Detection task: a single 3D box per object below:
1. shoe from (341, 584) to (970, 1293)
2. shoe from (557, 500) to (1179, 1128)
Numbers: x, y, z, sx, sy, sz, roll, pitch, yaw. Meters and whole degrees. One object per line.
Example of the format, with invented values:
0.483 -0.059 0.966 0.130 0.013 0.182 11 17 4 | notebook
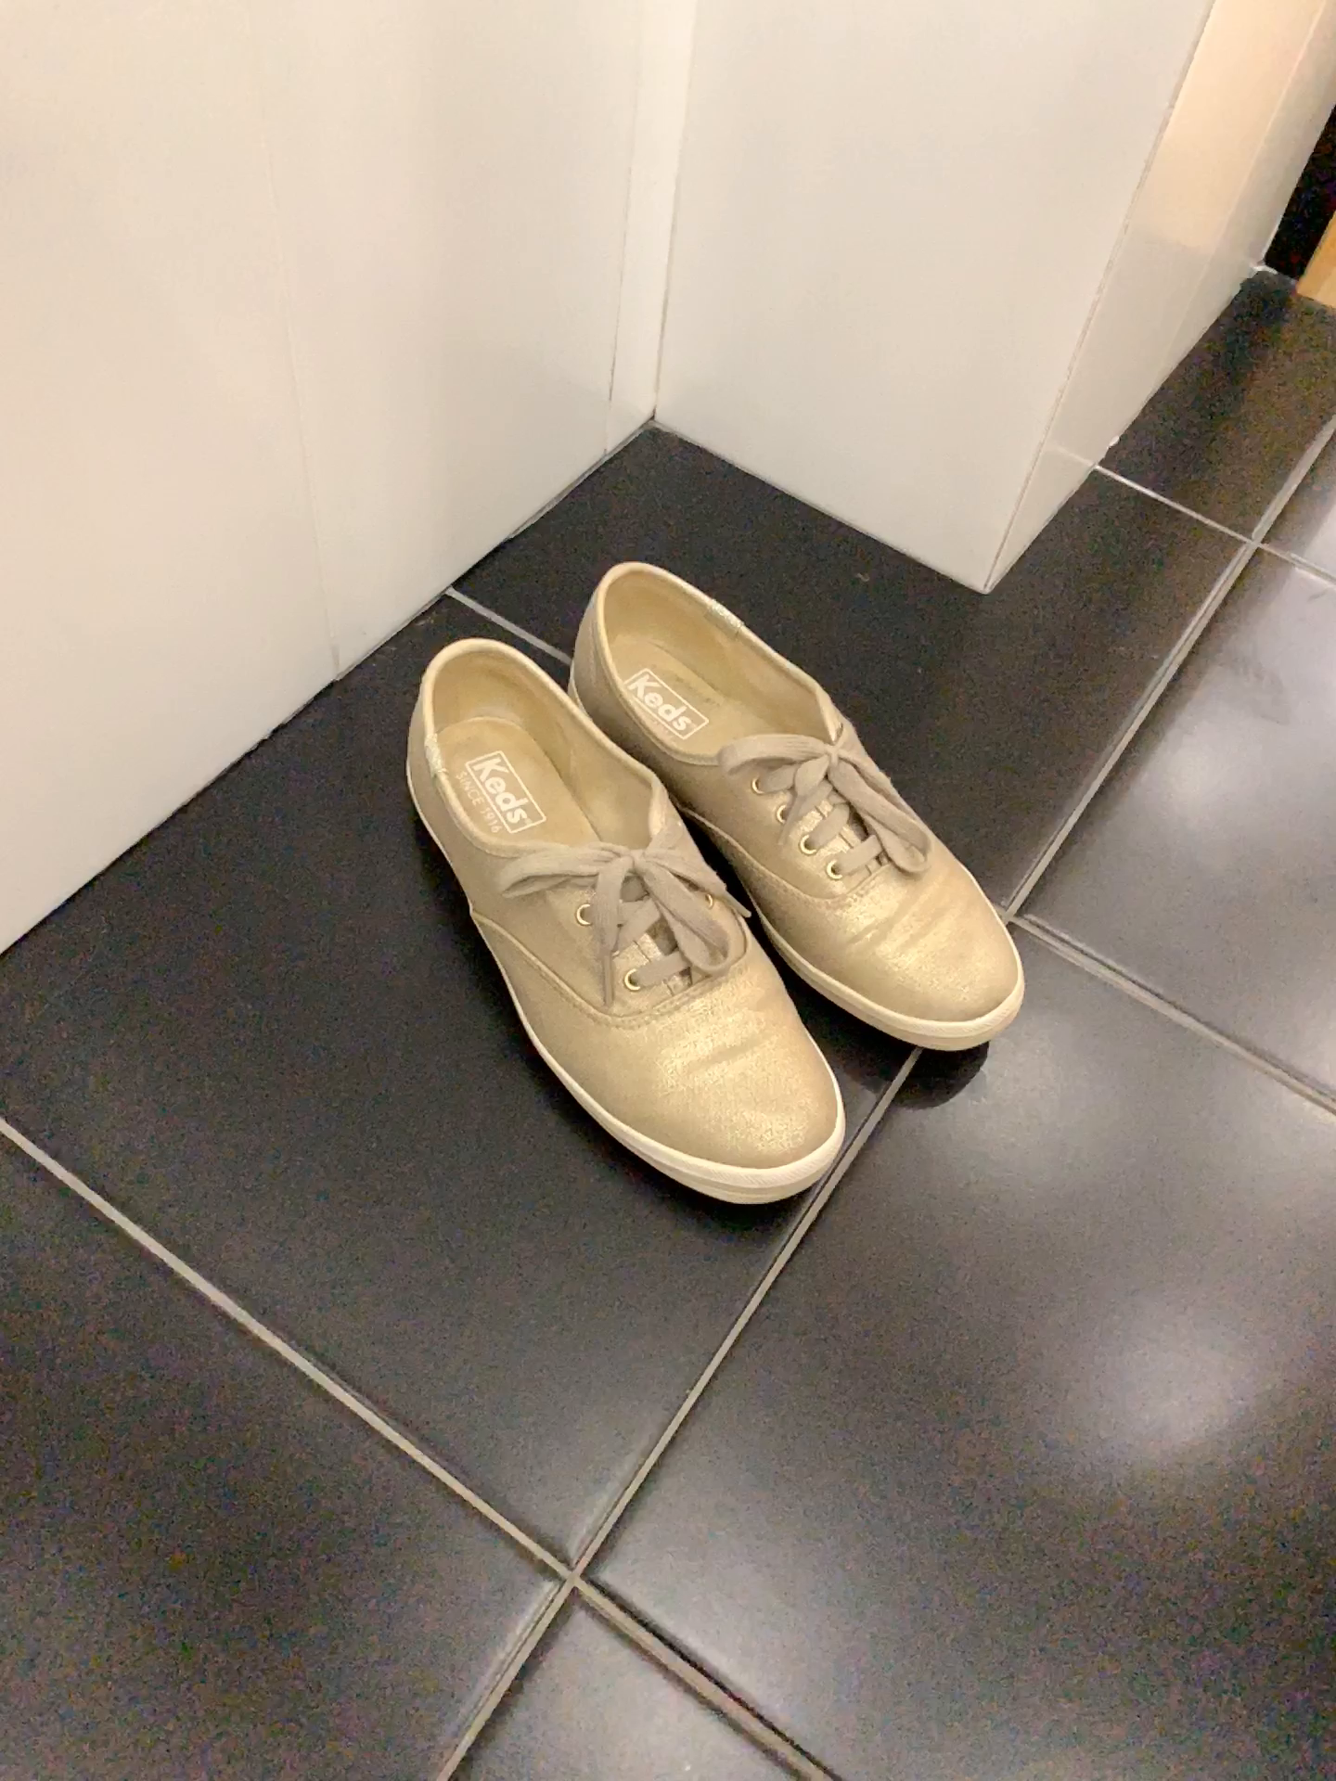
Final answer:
-0.016 0.010 0.496 0.090 0.100 0.231 -29 63 -25 | shoe
0.065 -0.036 0.543 0.090 0.100 0.230 -32 64 -27 | shoe
